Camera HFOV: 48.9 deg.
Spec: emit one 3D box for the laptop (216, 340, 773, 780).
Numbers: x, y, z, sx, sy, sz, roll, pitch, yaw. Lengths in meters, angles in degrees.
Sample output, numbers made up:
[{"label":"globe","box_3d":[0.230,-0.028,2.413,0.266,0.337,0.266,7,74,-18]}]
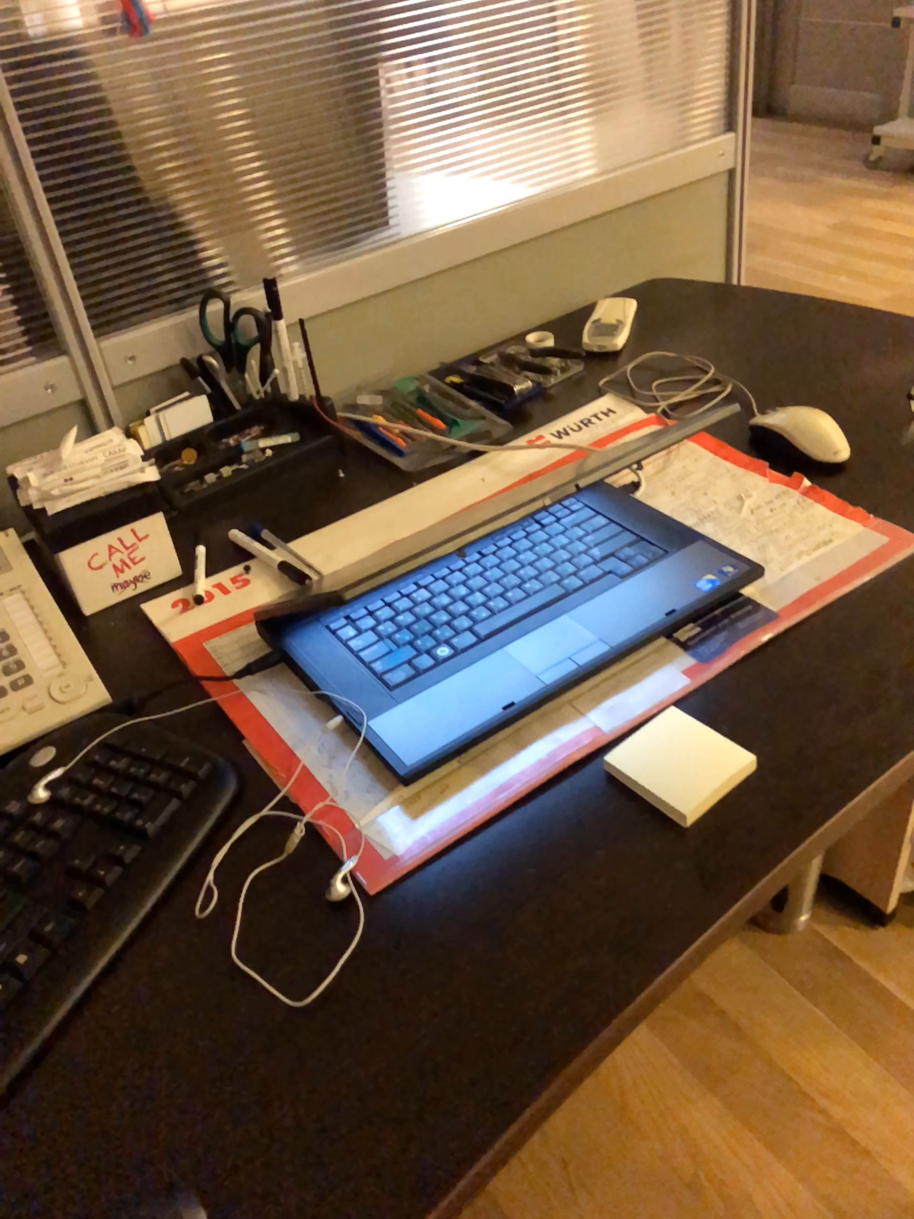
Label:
[{"label":"laptop","box_3d":[0.034,-0.065,0.807,0.359,0.141,0.239,-27,40,-25]}]
